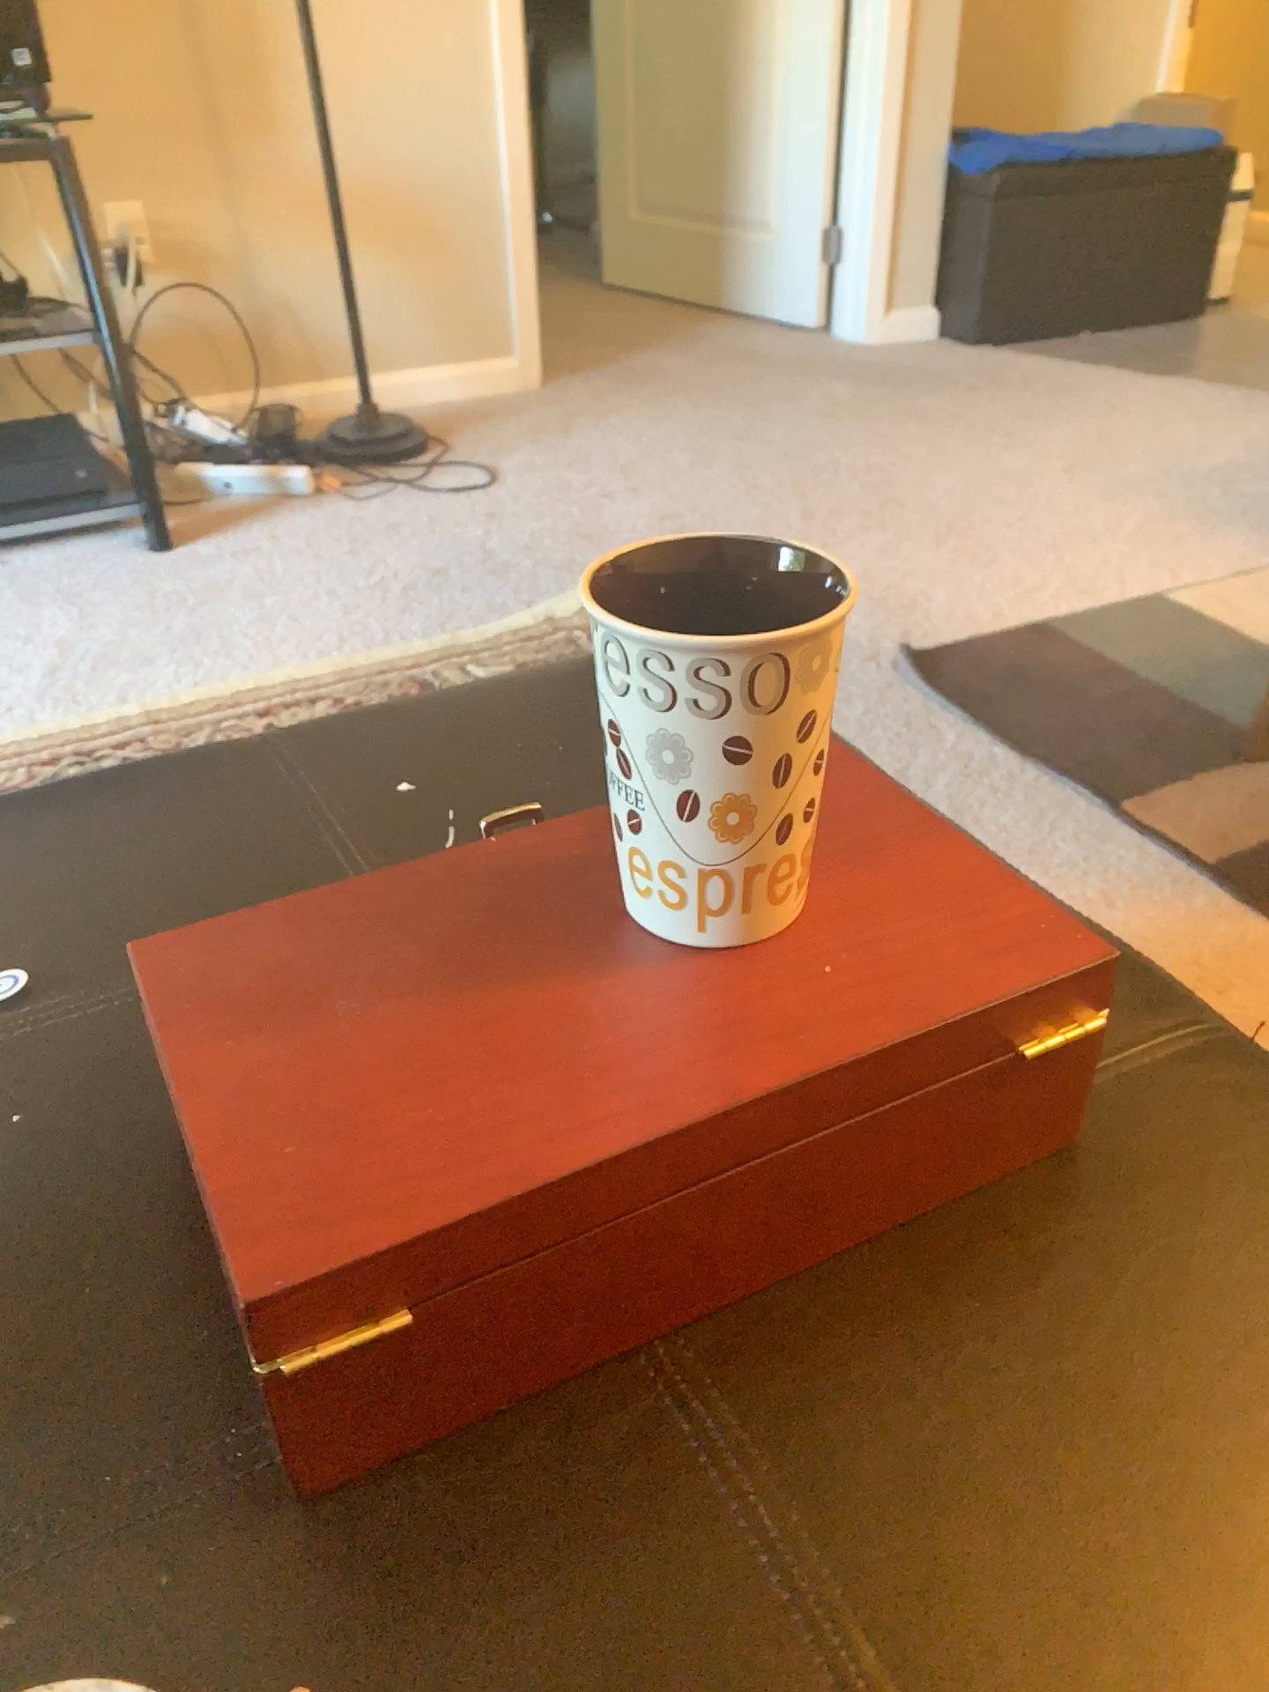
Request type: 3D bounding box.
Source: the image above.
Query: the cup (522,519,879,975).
[{"bbox_3d":[0.025,-0.035,0.429,0.090,0.109,0.090,-1,33,1],"label":"cup"}]
